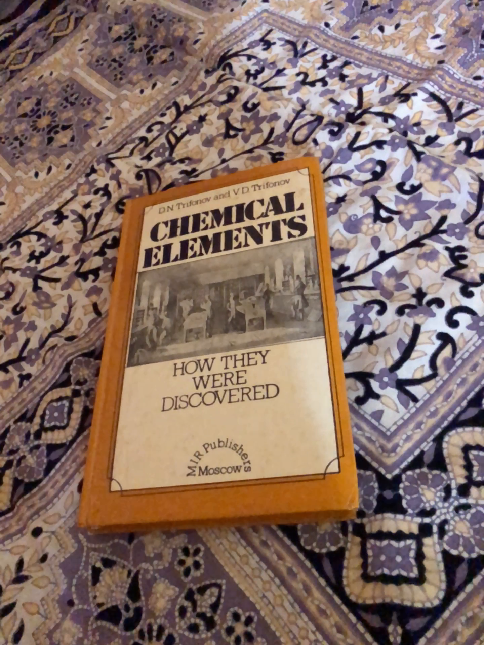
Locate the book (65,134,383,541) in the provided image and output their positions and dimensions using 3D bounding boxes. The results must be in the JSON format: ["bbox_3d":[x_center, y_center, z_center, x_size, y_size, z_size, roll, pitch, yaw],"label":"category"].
[{"bbox_3d":[-0.011,-0.002,0.300,0.140,0.030,0.220,-10,57,14],"label":"book"}]
